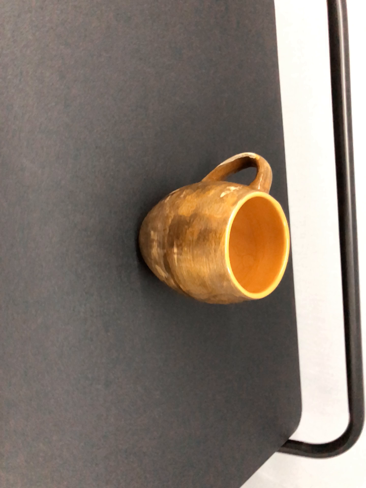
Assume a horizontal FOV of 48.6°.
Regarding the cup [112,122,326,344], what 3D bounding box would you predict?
[{"bbox_3d":[0.034,-0.010,0.326,0.092,0.092,0.131,48,61,-36],"label":"cup"}]
